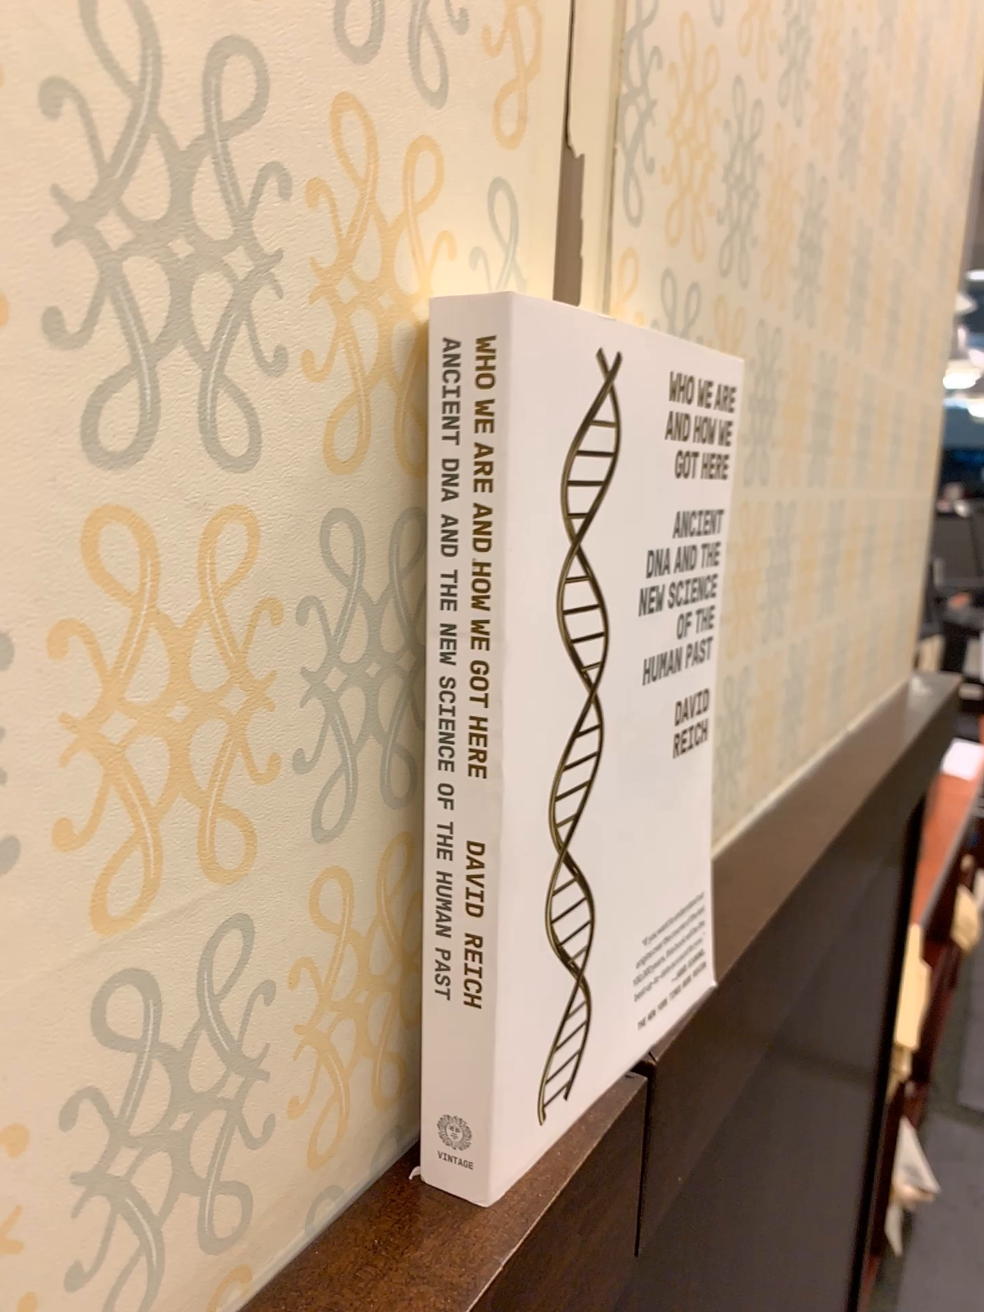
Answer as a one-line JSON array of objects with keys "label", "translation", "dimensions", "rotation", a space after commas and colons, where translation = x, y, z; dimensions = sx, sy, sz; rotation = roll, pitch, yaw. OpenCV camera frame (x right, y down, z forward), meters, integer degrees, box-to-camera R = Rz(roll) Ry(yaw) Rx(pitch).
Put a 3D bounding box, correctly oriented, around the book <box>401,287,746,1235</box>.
[{"label": "book", "translation": [0.027, 0.018, 0.275], "dimensions": [0.041, 0.199, 0.127], "rotation": [6, 10, 26]}]
